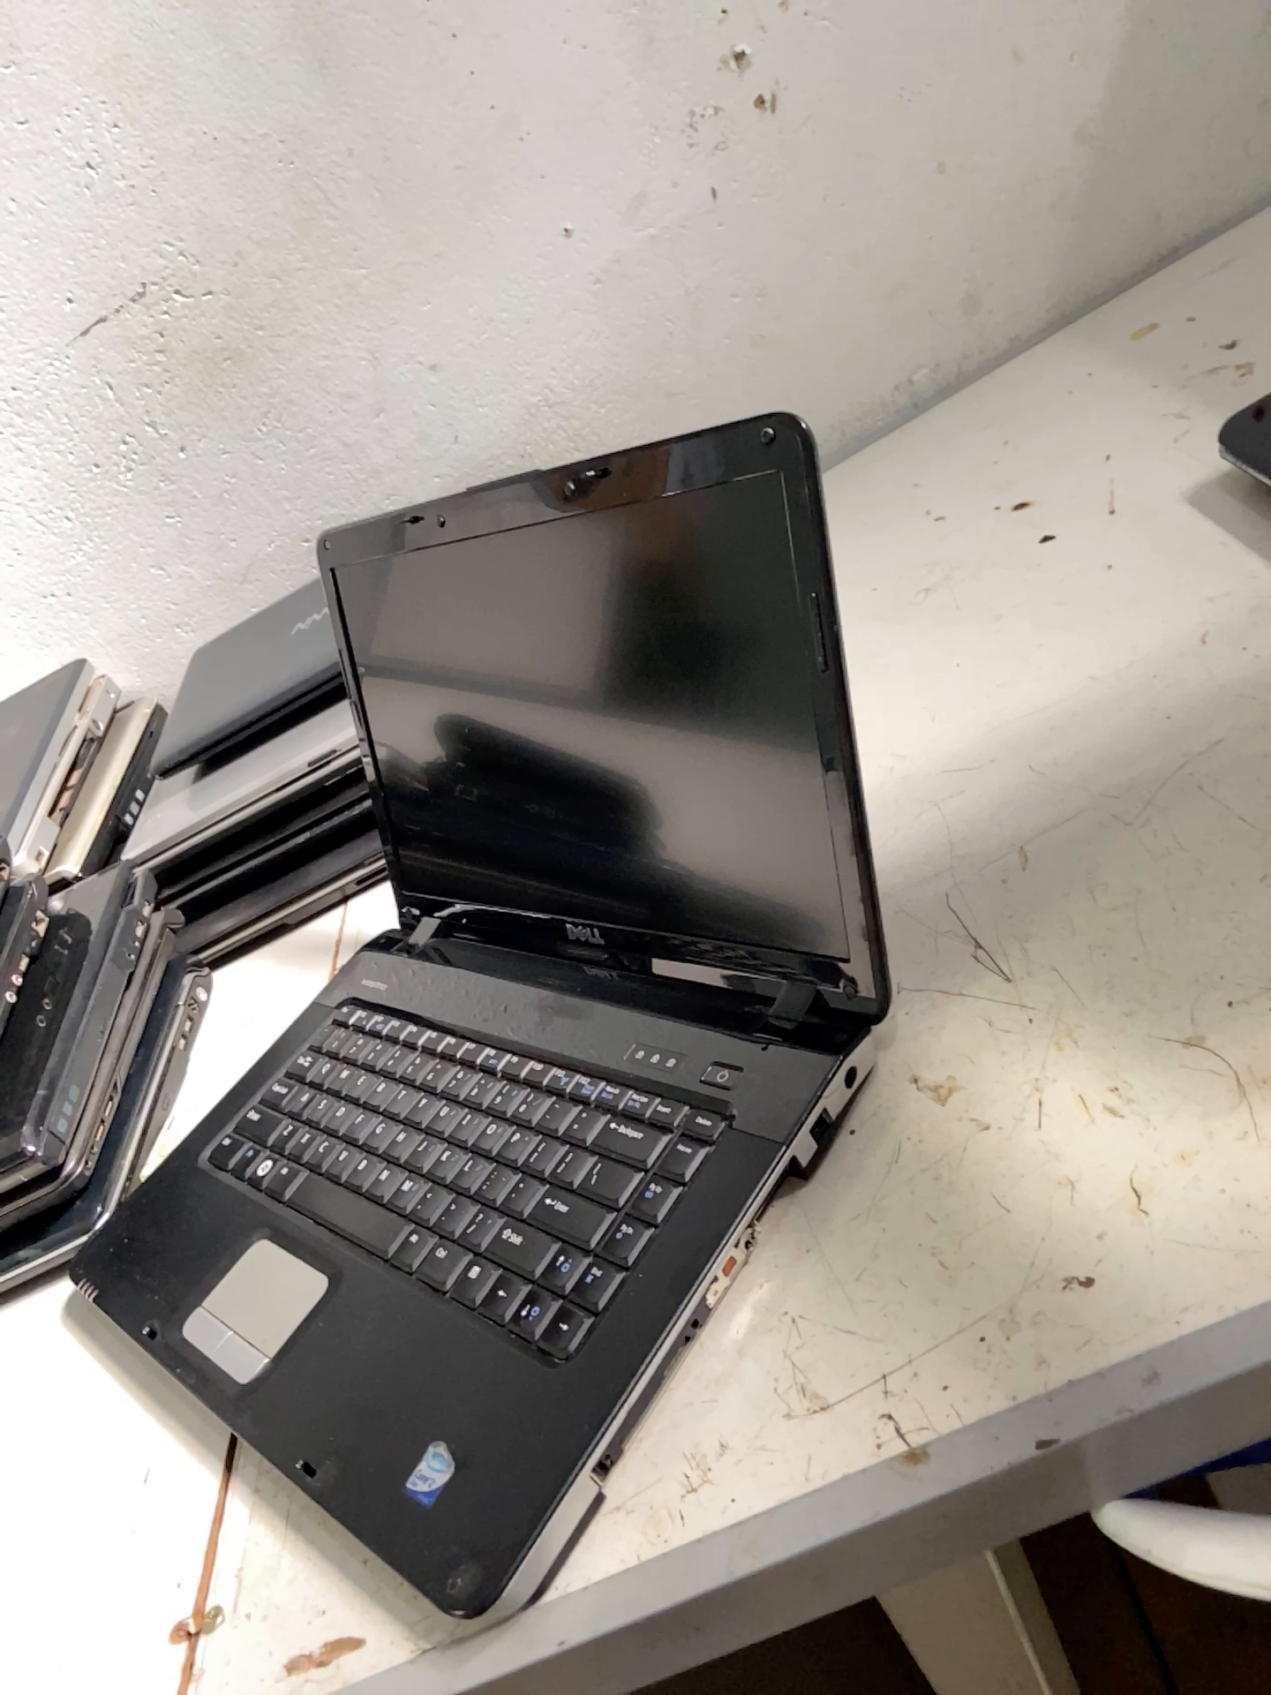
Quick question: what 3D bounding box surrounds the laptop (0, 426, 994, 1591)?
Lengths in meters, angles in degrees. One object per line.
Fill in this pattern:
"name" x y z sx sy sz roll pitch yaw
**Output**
"laptop" -0.116 0.032 0.577 0.366 0.203 0.353 4 45 49
